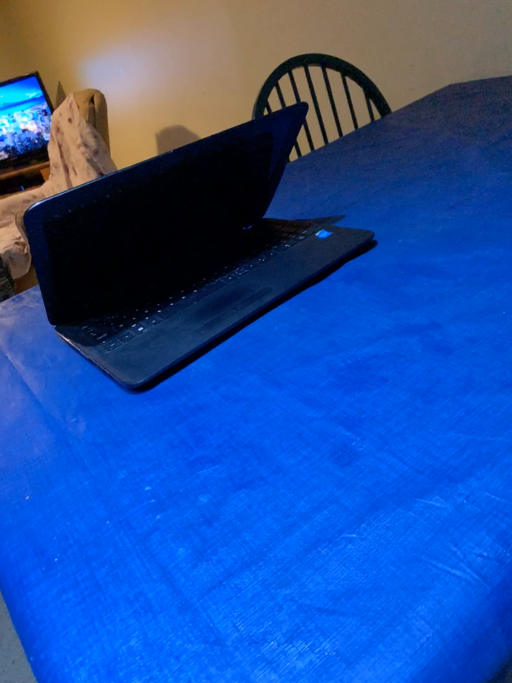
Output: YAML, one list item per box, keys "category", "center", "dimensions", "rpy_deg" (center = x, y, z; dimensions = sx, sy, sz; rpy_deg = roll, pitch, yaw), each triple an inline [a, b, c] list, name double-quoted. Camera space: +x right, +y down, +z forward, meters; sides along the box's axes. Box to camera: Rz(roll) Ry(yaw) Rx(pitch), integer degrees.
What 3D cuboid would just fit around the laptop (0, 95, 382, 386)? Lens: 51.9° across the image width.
- category: "laptop"
  center: [-0.078, -0.151, 0.653]
  dimensions: [0.371, 0.167, 0.253]
  rpy_deg: [-33, 33, -25]
